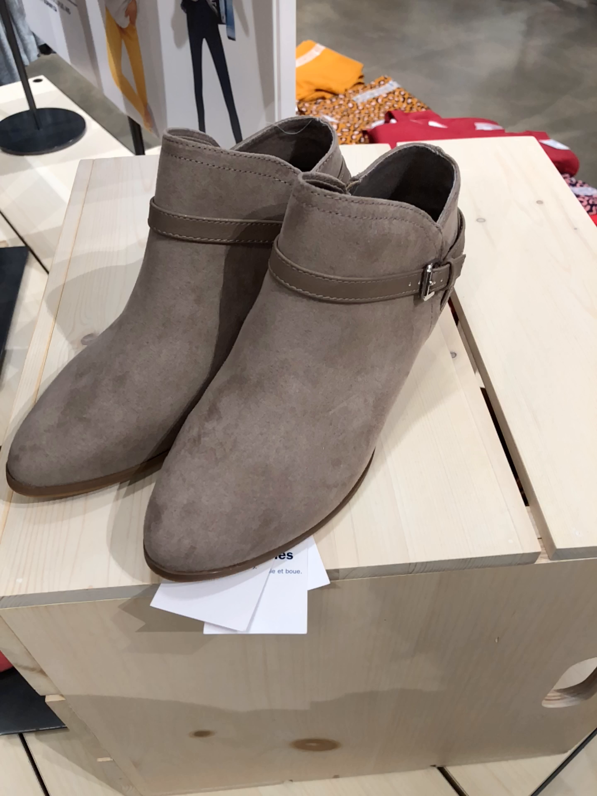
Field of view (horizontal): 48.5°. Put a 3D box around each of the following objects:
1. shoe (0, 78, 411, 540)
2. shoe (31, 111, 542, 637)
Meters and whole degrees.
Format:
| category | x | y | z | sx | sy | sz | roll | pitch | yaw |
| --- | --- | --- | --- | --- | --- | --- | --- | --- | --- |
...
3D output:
| category | x | y | z | sx | sy | sz | roll | pitch | yaw |
| --- | --- | --- | --- | --- | --- | --- | --- | --- | --- |
| shoe | -0.054 | -0.063 | 0.353 | 0.090 | 0.110 | 0.250 | 32 | 55 | 26 |
| shoe | 0.014 | -0.030 | 0.328 | 0.090 | 0.110 | 0.250 | 28 | 54 | 23 |
